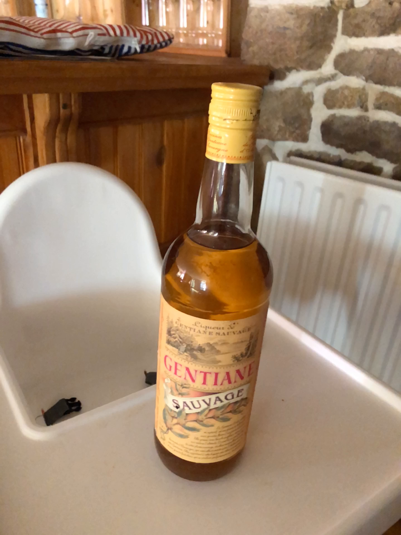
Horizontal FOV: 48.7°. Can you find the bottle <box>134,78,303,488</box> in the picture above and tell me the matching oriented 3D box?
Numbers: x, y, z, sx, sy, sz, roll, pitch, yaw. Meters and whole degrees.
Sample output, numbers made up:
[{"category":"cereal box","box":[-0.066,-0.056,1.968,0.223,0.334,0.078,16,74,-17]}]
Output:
[{"category":"bottle","box":[0.005,0.024,0.336,0.090,0.298,0.080,6,26,4]}]
